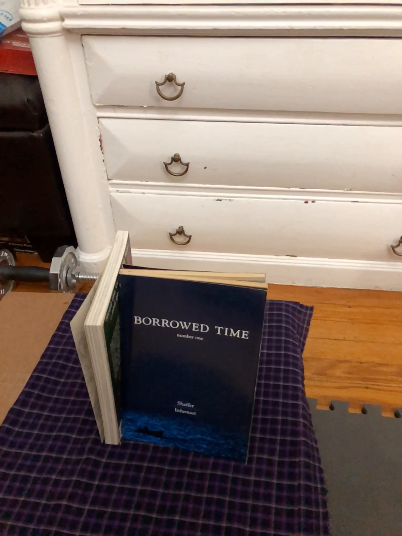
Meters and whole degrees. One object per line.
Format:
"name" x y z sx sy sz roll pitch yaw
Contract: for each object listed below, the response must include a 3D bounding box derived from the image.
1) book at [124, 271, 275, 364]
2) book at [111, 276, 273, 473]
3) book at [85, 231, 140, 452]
"book" 0.005 0.063 0.493 0.140 0.199 0.010 2 57 6
"book" -0.014 0.110 0.440 0.150 0.199 0.010 5 18 7
"book" -0.088 0.080 0.470 0.020 0.189 0.141 7 39 0
